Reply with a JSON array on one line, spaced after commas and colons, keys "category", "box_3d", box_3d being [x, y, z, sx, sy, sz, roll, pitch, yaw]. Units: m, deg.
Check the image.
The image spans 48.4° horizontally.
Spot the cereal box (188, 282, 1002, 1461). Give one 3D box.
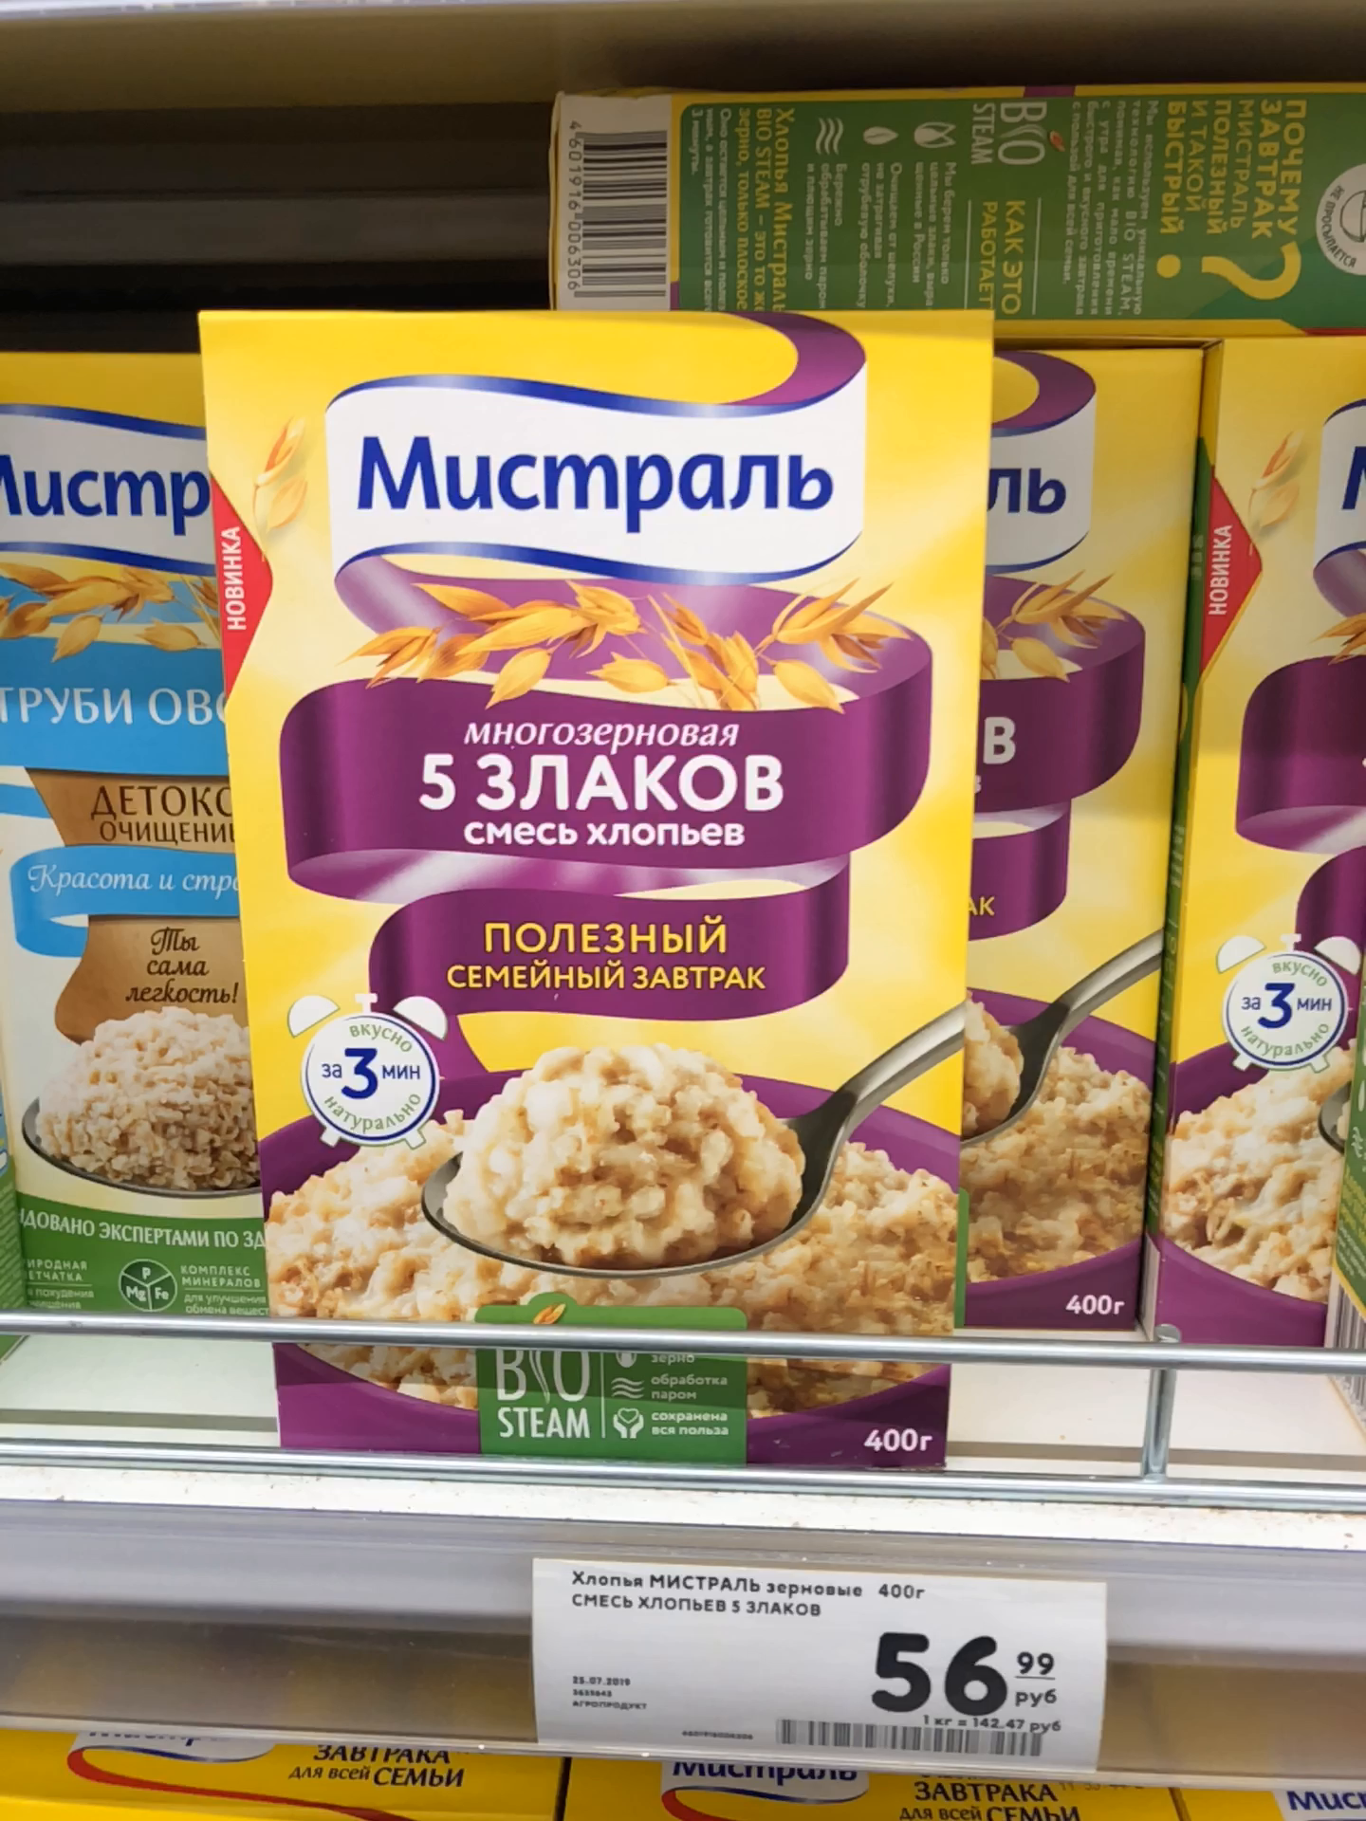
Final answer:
[{"category": "cereal box", "box_3d": [-0.012, -0.003, 0.291, 0.130, 0.209, 0.050, 0, 14, 3]}]
